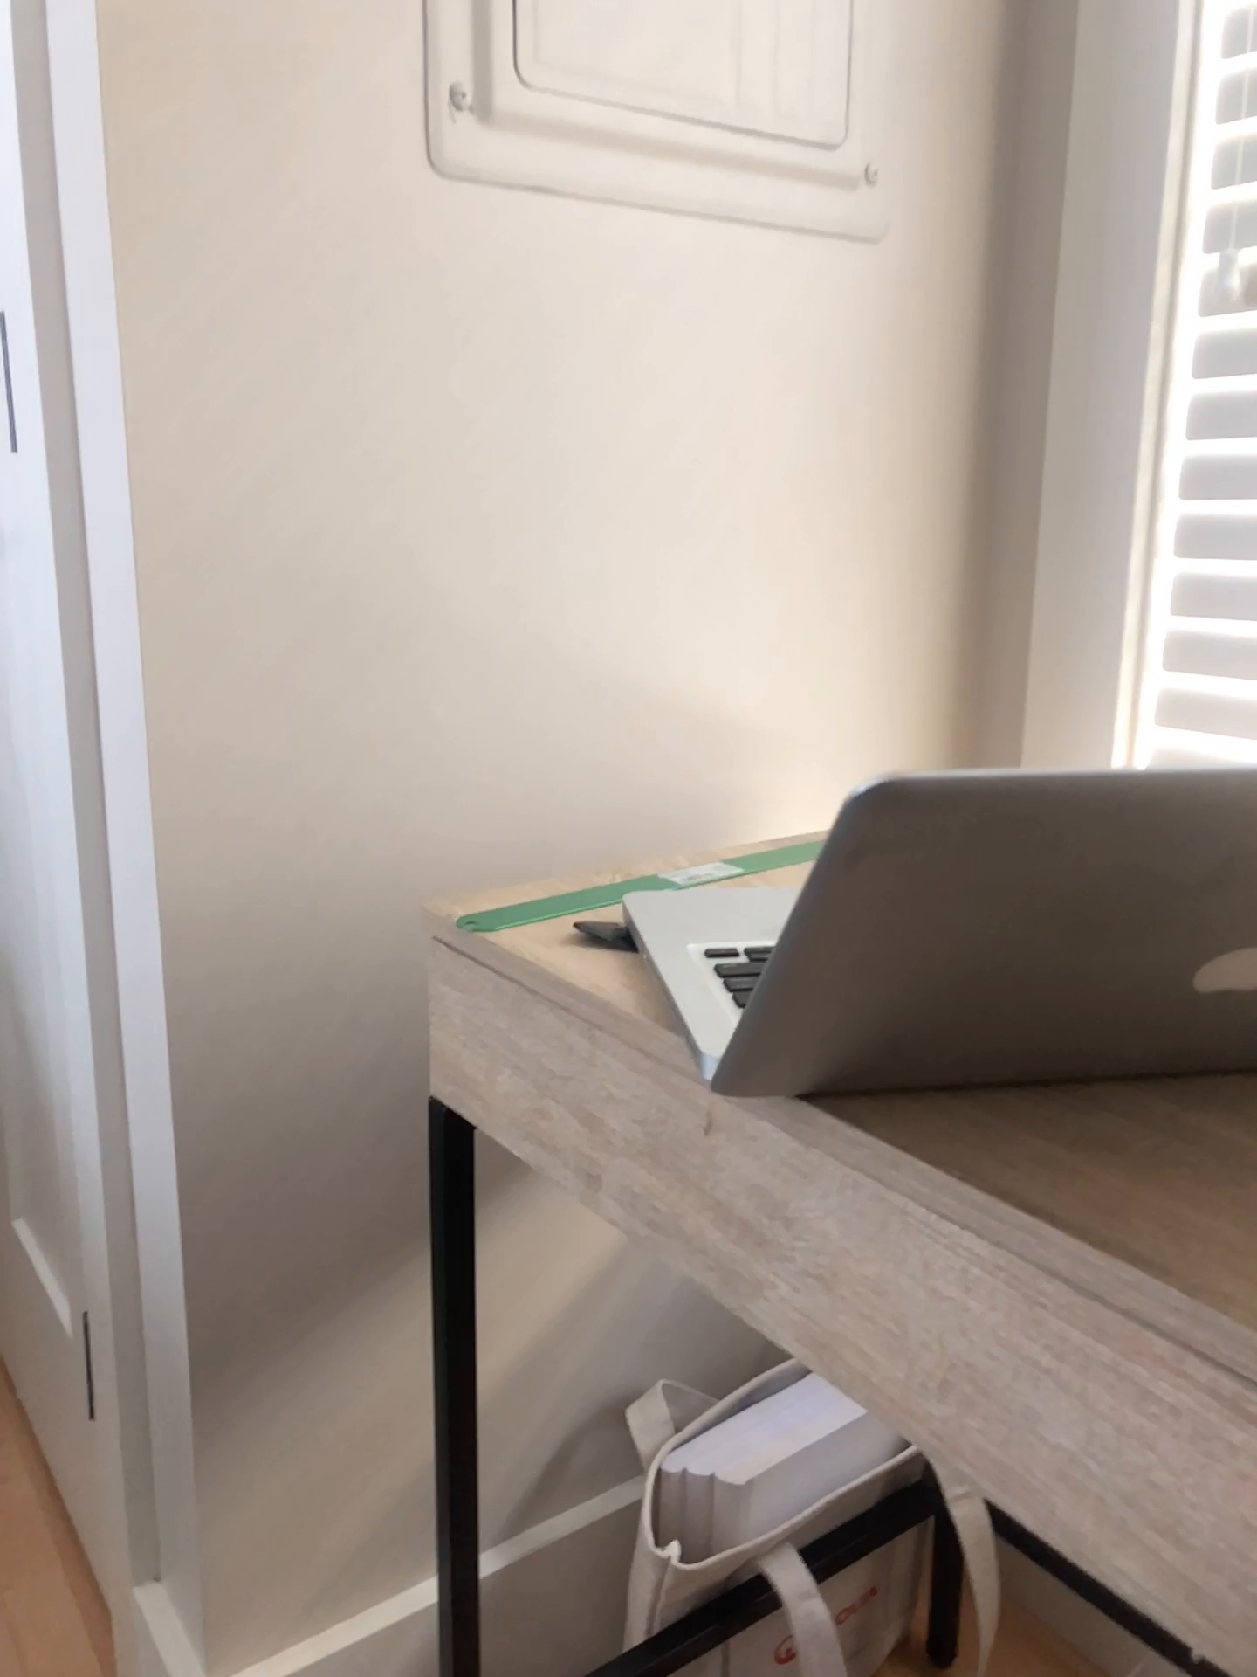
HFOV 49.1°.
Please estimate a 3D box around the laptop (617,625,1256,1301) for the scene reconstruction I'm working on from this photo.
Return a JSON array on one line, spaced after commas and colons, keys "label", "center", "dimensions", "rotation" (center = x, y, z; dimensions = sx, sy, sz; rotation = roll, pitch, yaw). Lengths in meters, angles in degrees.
[{"label": "laptop", "center": [0.182, 0.006, 0.538], "dimensions": [0.320, 0.133, 0.347], "rotation": [-2, 15, -9]}]
